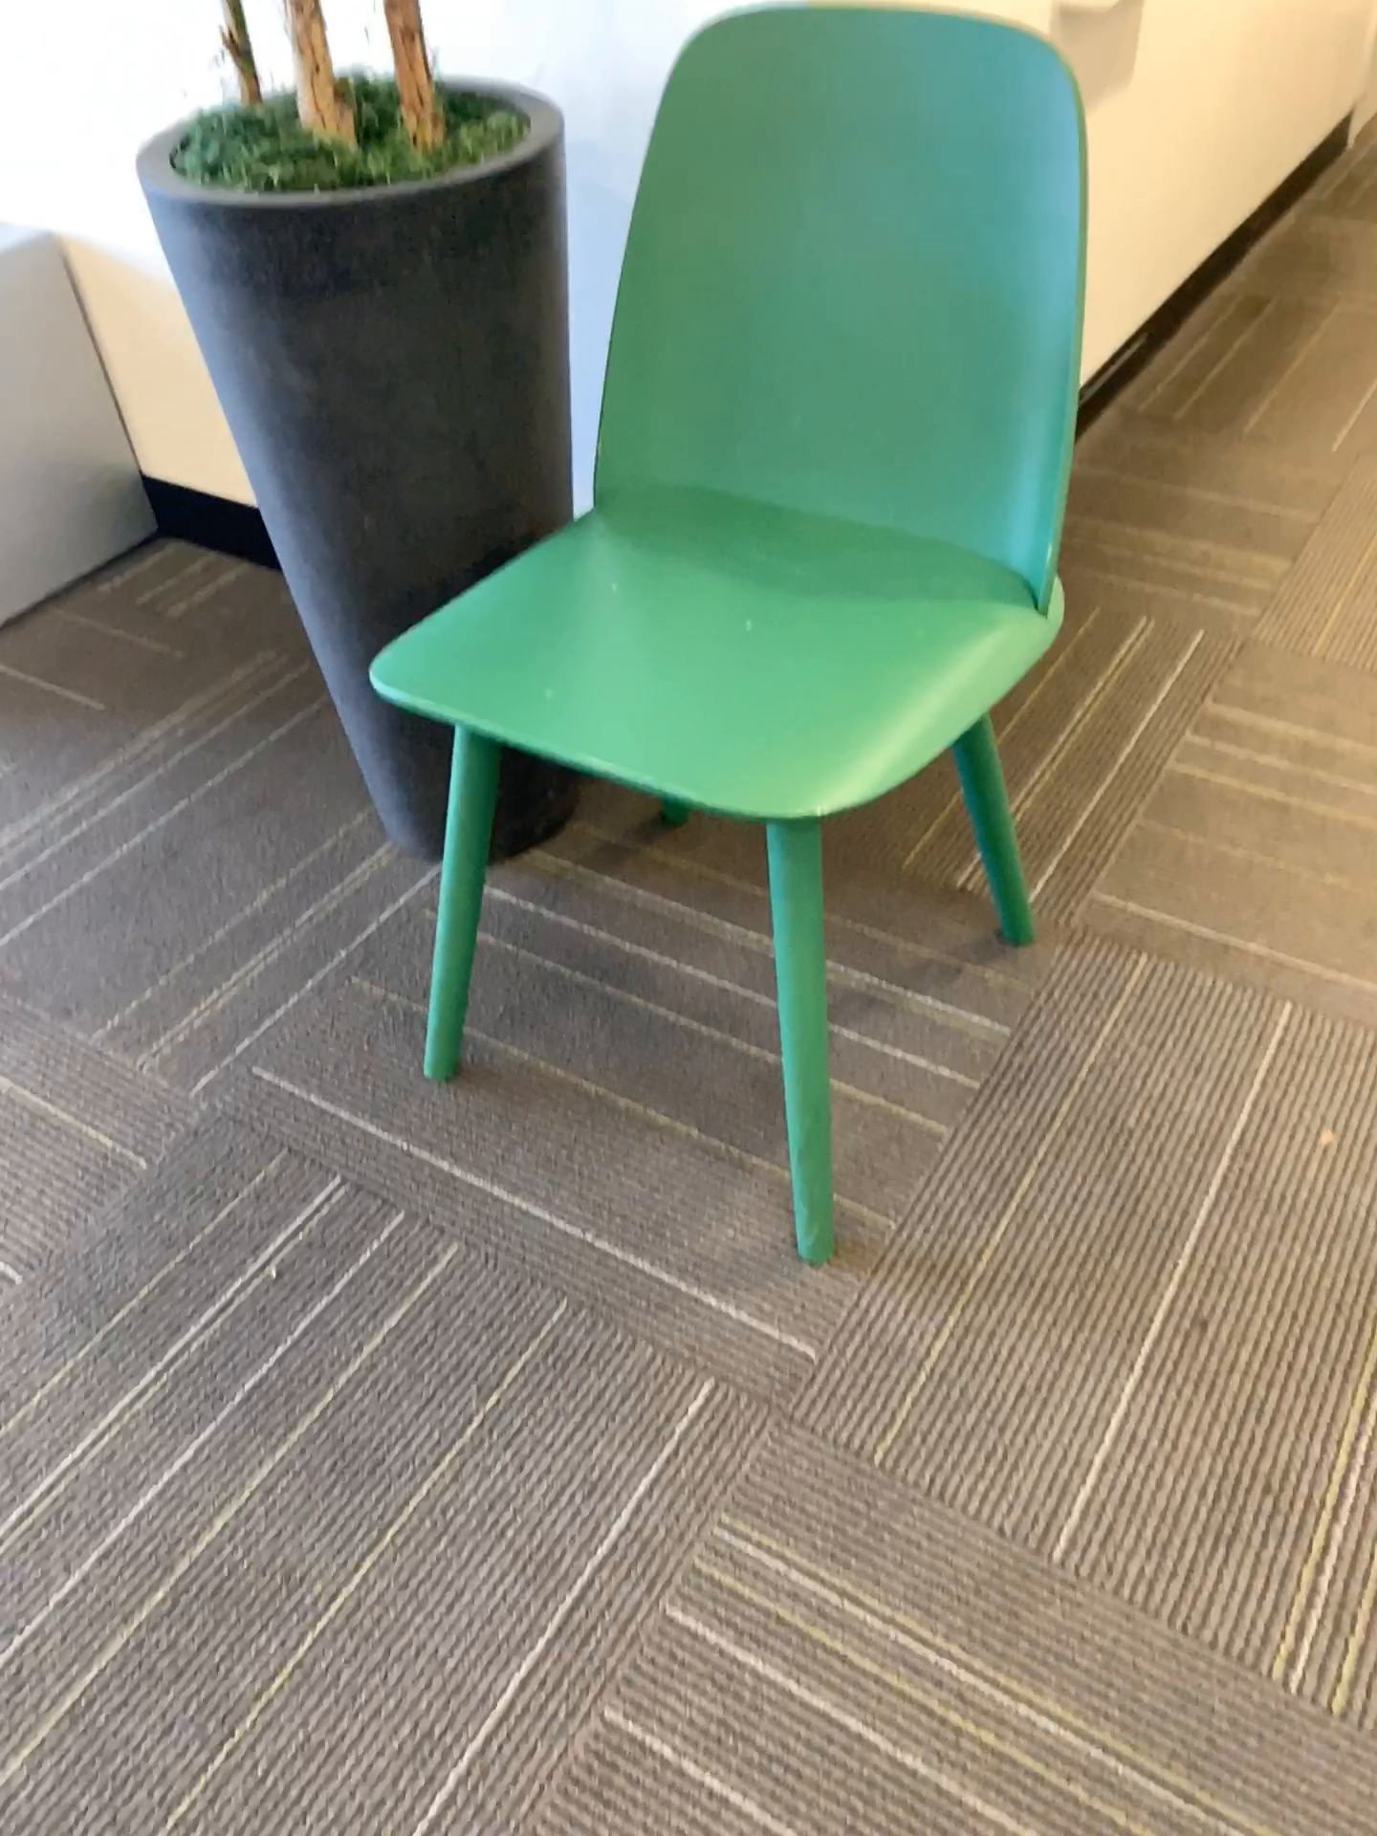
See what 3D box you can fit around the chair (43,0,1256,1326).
[{"bbox_3d":[0.029,-0.224,1.116,0.502,0.745,0.602,21,48,25],"label":"chair"}]
